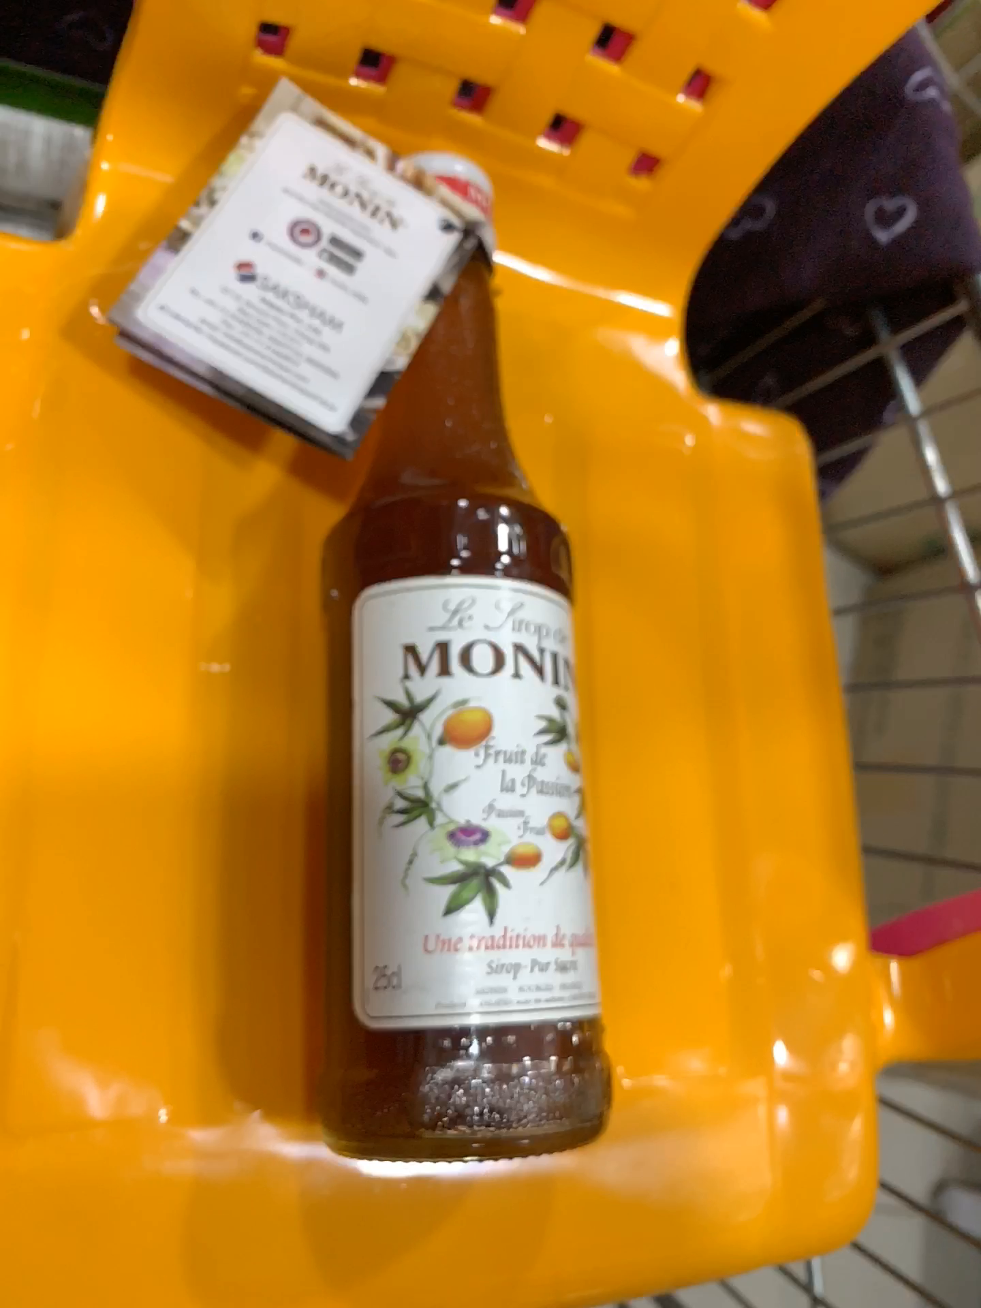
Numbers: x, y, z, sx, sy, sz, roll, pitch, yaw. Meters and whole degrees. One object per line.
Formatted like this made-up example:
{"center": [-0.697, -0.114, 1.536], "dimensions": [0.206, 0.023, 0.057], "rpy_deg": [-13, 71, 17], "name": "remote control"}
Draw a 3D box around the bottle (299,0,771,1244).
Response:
{"center": [0.004, -0.016, 0.209], "dimensions": [0.060, 0.060, 0.220], "rpy_deg": [7, 73, -24], "name": "bottle"}
